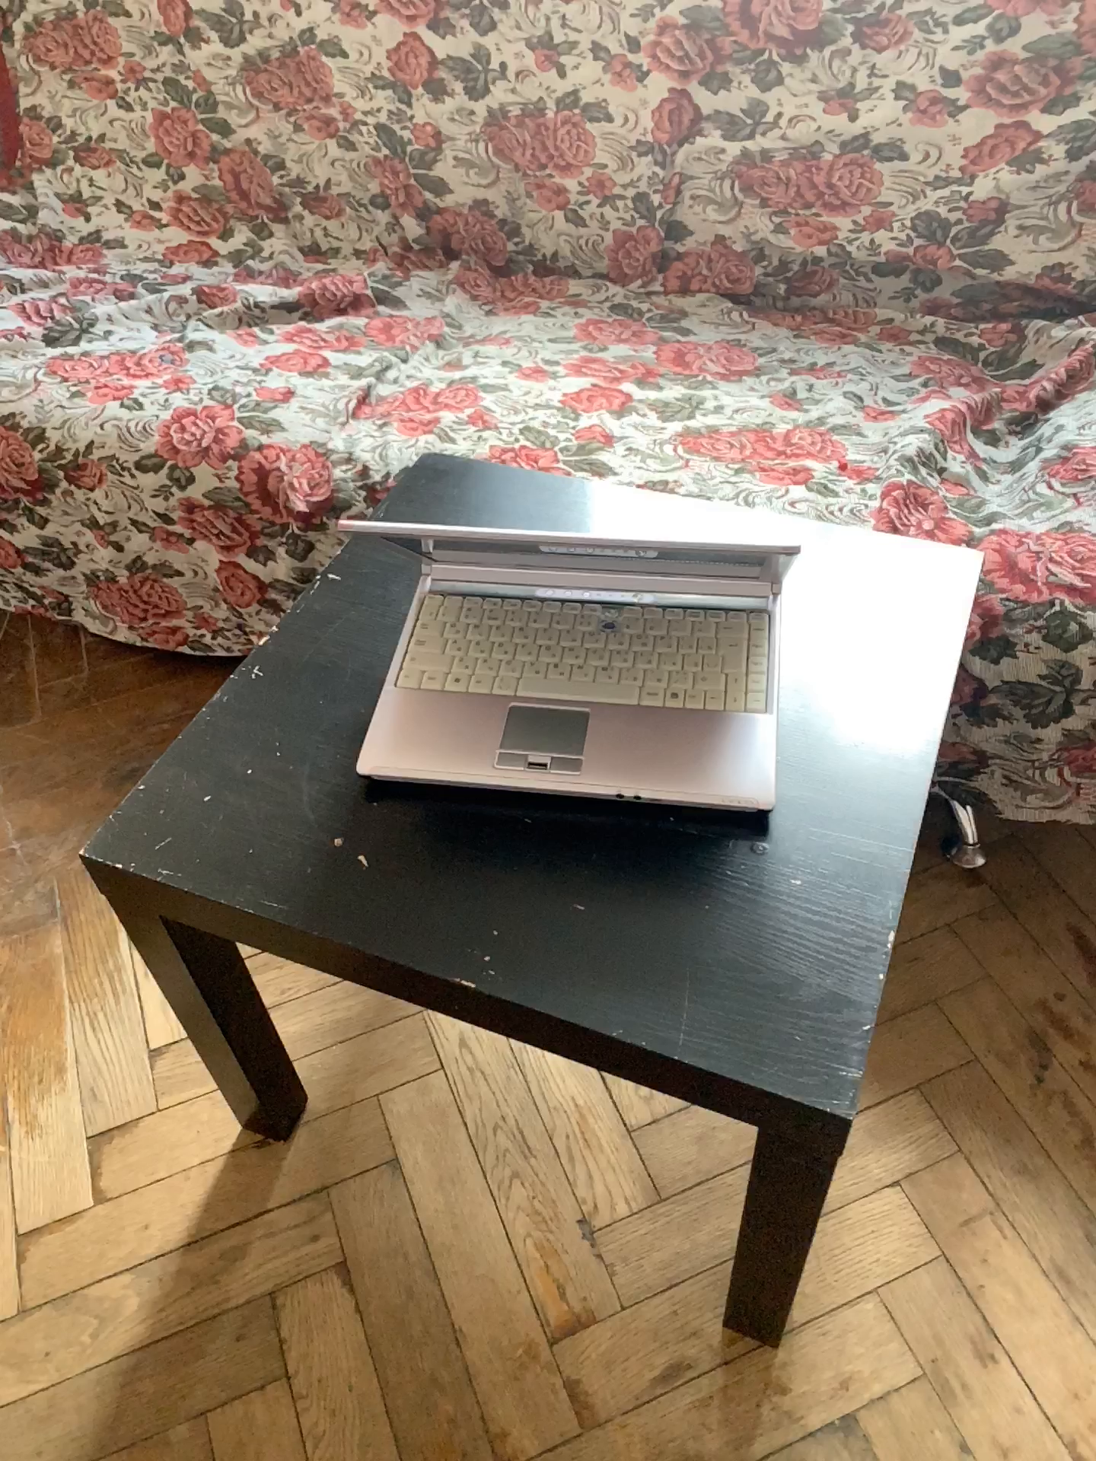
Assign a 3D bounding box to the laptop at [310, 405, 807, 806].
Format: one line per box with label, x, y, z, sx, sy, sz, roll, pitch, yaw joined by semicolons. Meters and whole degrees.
laptop;0.022;-0.098;0.805;0.305;0.156;0.227;4;48;8
